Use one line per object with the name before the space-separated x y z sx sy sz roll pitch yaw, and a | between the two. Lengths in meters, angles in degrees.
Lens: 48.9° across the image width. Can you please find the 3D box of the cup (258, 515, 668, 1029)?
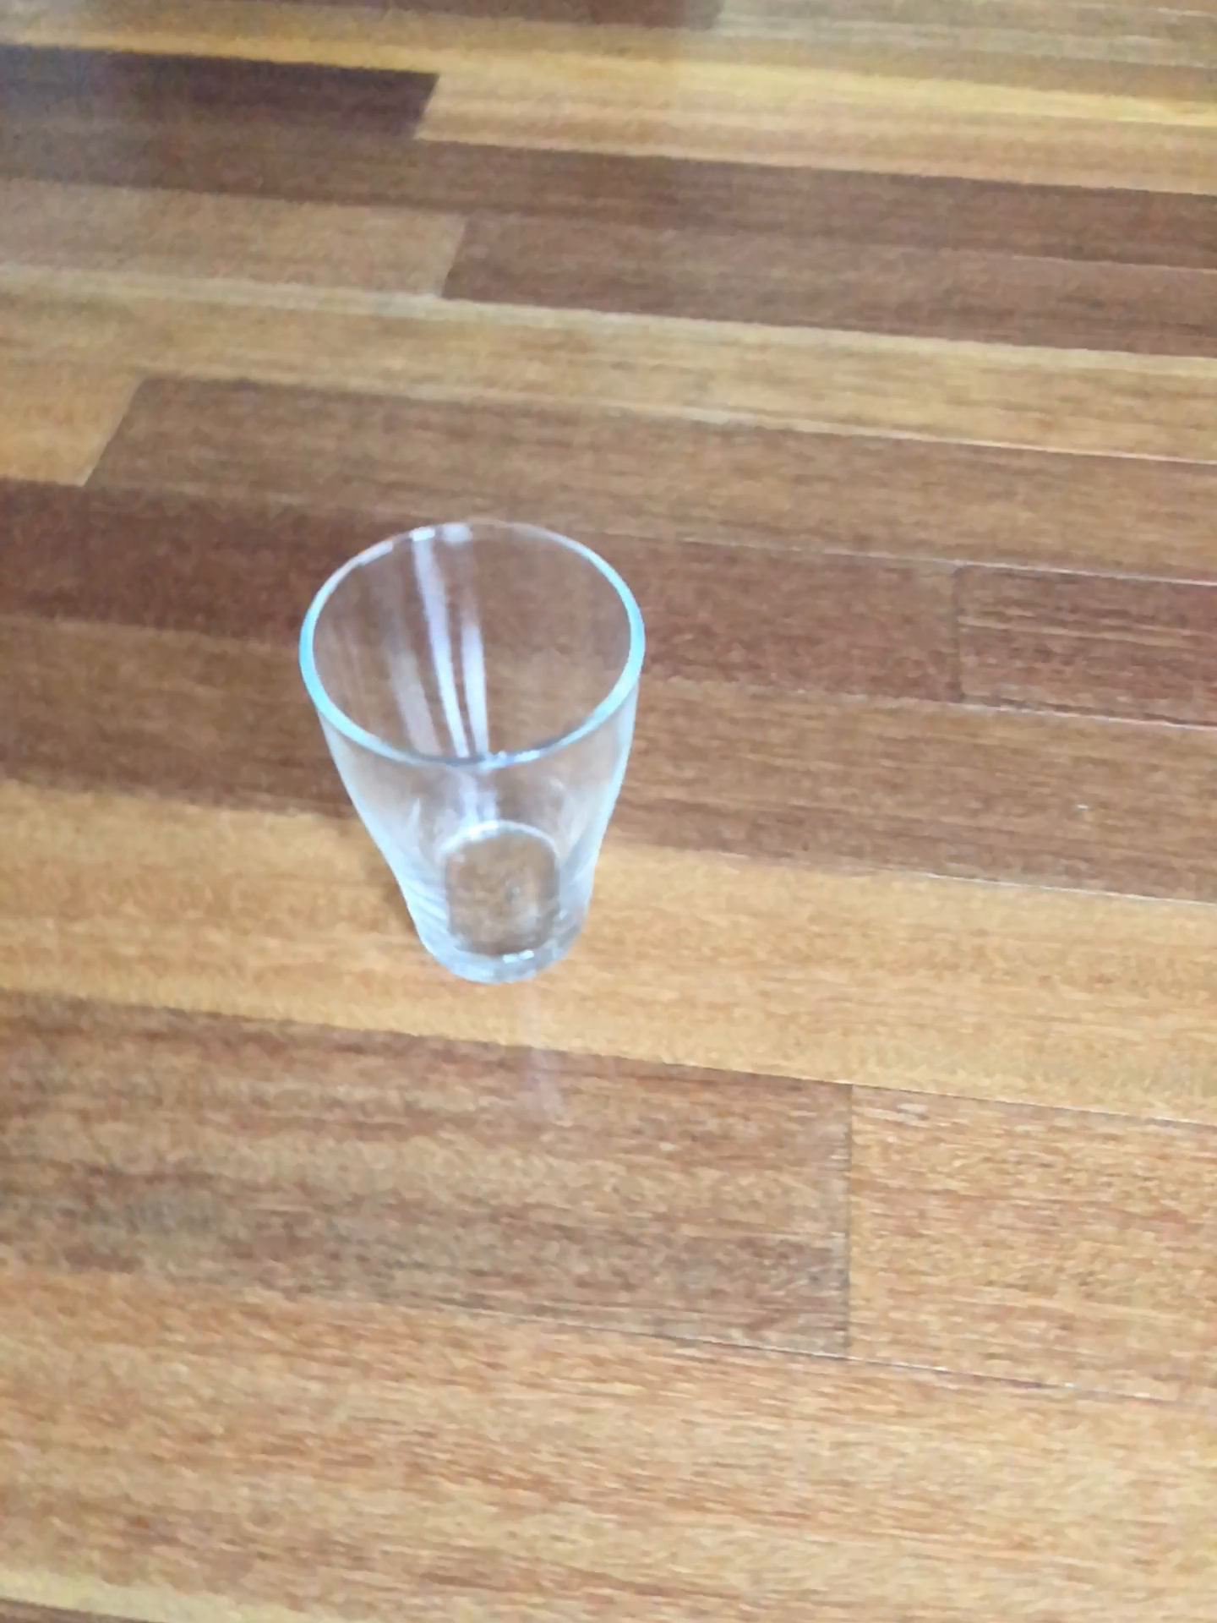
cup | -0.034 -0.008 0.366 0.090 0.109 0.091 0 52 -1
